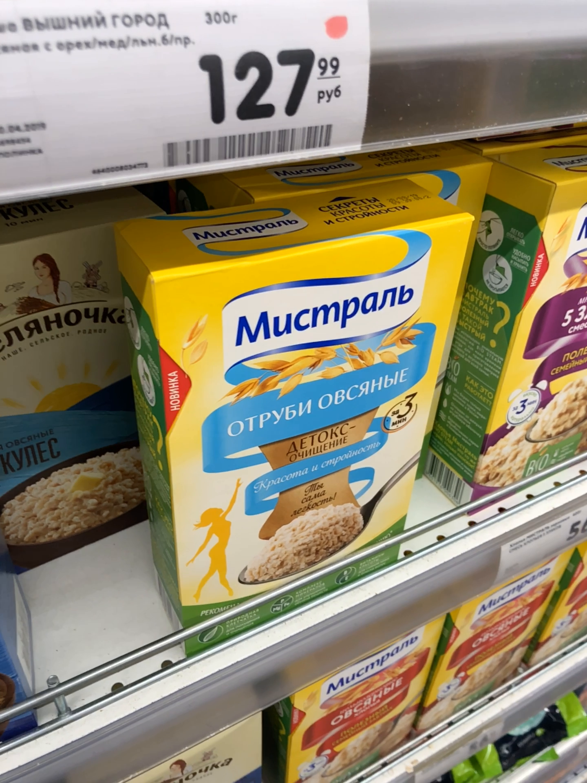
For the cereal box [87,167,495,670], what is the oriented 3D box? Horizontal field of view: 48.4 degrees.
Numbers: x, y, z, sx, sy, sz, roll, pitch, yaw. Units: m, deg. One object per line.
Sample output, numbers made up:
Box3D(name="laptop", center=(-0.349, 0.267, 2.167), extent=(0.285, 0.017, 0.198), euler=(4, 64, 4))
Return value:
Box3D(name="cereal box", center=(-0.001, 0.019, 0.298), extent=(0.140, 0.209, 0.050), euler=(-17, 41, -23))
